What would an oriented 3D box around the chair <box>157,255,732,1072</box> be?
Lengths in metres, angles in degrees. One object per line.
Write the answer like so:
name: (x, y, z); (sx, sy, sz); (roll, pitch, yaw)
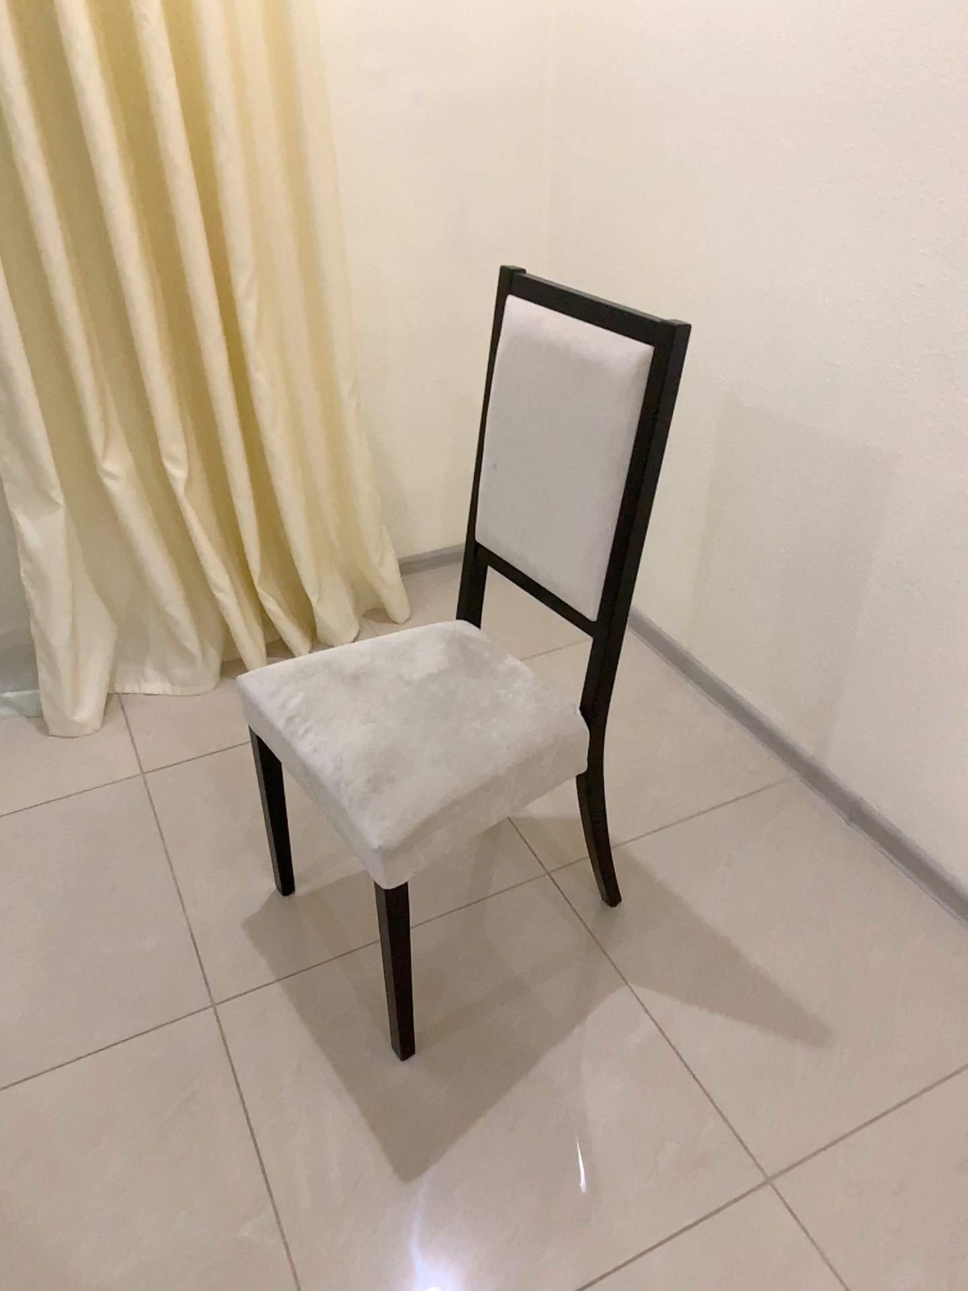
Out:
chair: (-0.058, 0.008, 1.437); (0.511, 0.964, 0.482); (-20, 37, -29)
